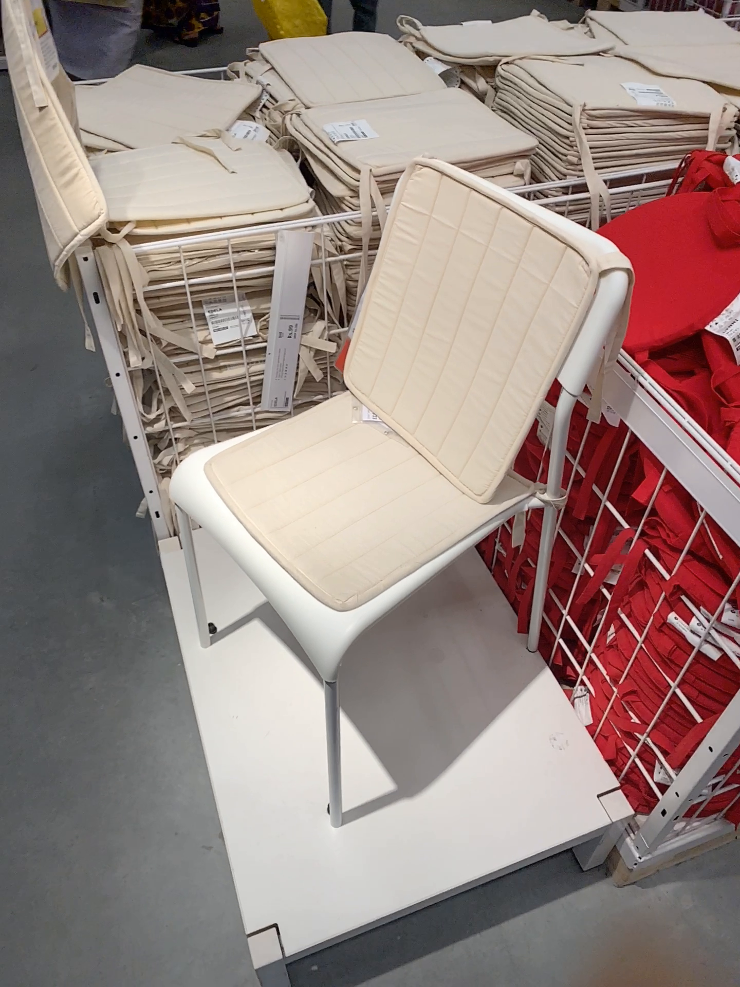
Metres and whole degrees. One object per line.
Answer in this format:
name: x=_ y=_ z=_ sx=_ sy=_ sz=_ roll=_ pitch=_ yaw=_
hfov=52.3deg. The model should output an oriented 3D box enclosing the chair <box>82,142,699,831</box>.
chair: x=0.012 y=0.000 z=1.032 sx=0.480 sy=0.698 sz=0.431 roll=-29 pitch=52 yaw=-26
